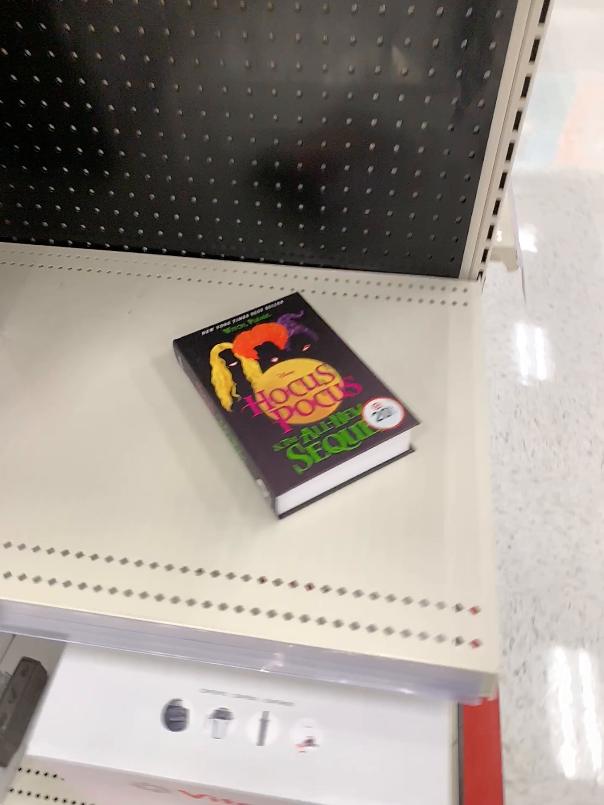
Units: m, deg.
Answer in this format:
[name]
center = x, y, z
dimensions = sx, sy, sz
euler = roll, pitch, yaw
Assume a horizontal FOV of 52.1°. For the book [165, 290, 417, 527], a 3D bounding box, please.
[book]
center = -0.017, -0.007, 0.588
dimensions = 0.148, 0.050, 0.210
euler = -24, 52, -19
